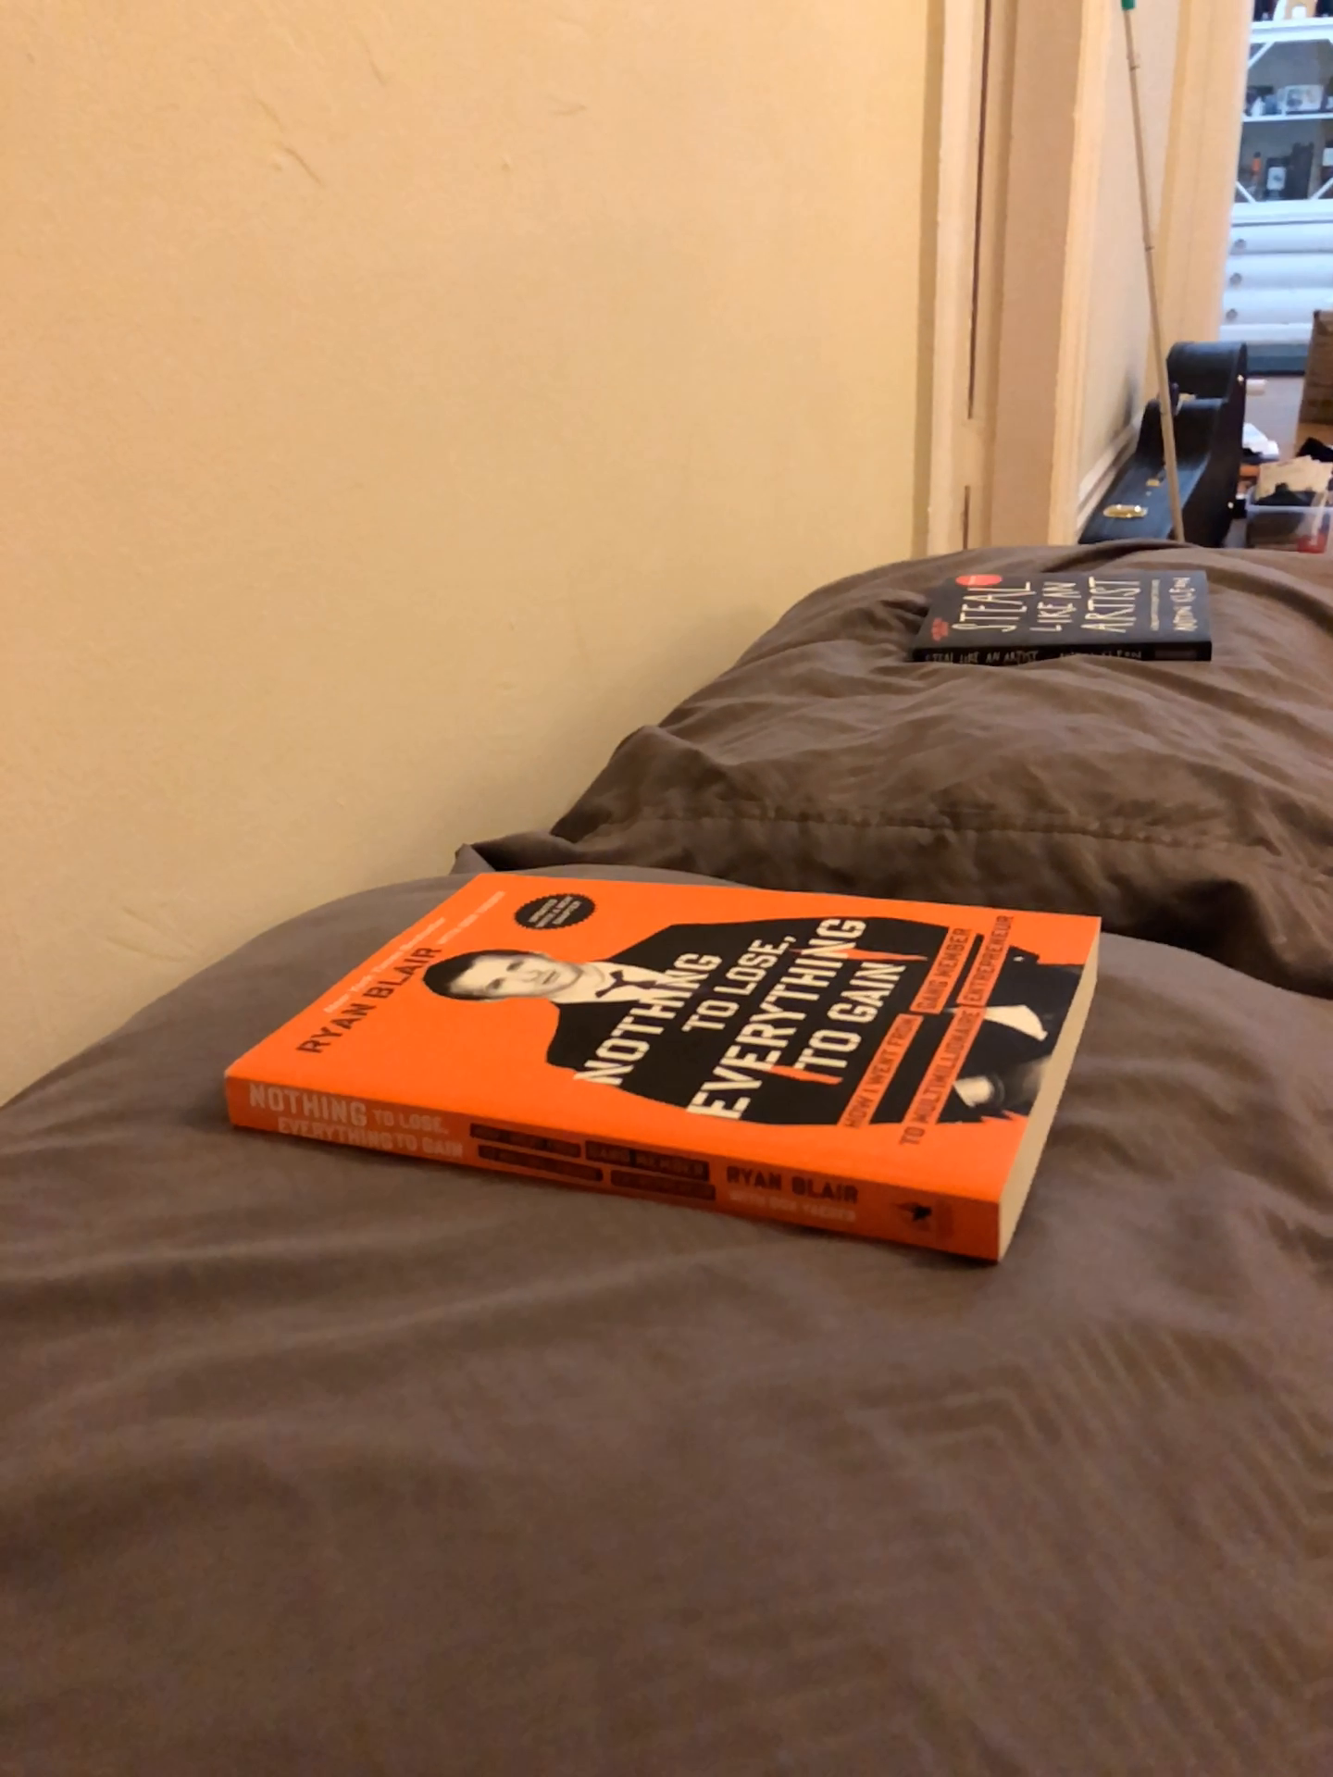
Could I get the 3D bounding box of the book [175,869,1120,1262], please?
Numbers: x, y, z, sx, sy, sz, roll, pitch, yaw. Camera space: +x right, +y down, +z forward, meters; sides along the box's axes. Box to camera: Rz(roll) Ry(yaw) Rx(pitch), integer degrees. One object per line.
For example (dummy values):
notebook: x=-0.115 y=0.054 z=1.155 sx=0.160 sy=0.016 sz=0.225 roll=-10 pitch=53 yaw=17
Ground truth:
book: x=0.001 y=0.037 z=0.423 sx=0.230 sy=0.020 sz=0.151 roll=5 pitch=22 yaw=24
